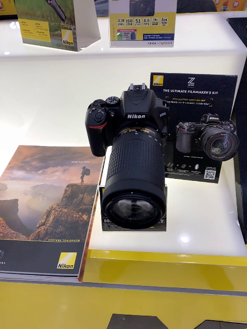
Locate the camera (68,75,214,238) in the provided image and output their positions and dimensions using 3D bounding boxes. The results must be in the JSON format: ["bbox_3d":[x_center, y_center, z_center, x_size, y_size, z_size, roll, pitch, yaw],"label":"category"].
[{"bbox_3d":[0.018,-0.019,0.308,0.120,0.100,0.181,-2,43,3],"label":"camera"}]
